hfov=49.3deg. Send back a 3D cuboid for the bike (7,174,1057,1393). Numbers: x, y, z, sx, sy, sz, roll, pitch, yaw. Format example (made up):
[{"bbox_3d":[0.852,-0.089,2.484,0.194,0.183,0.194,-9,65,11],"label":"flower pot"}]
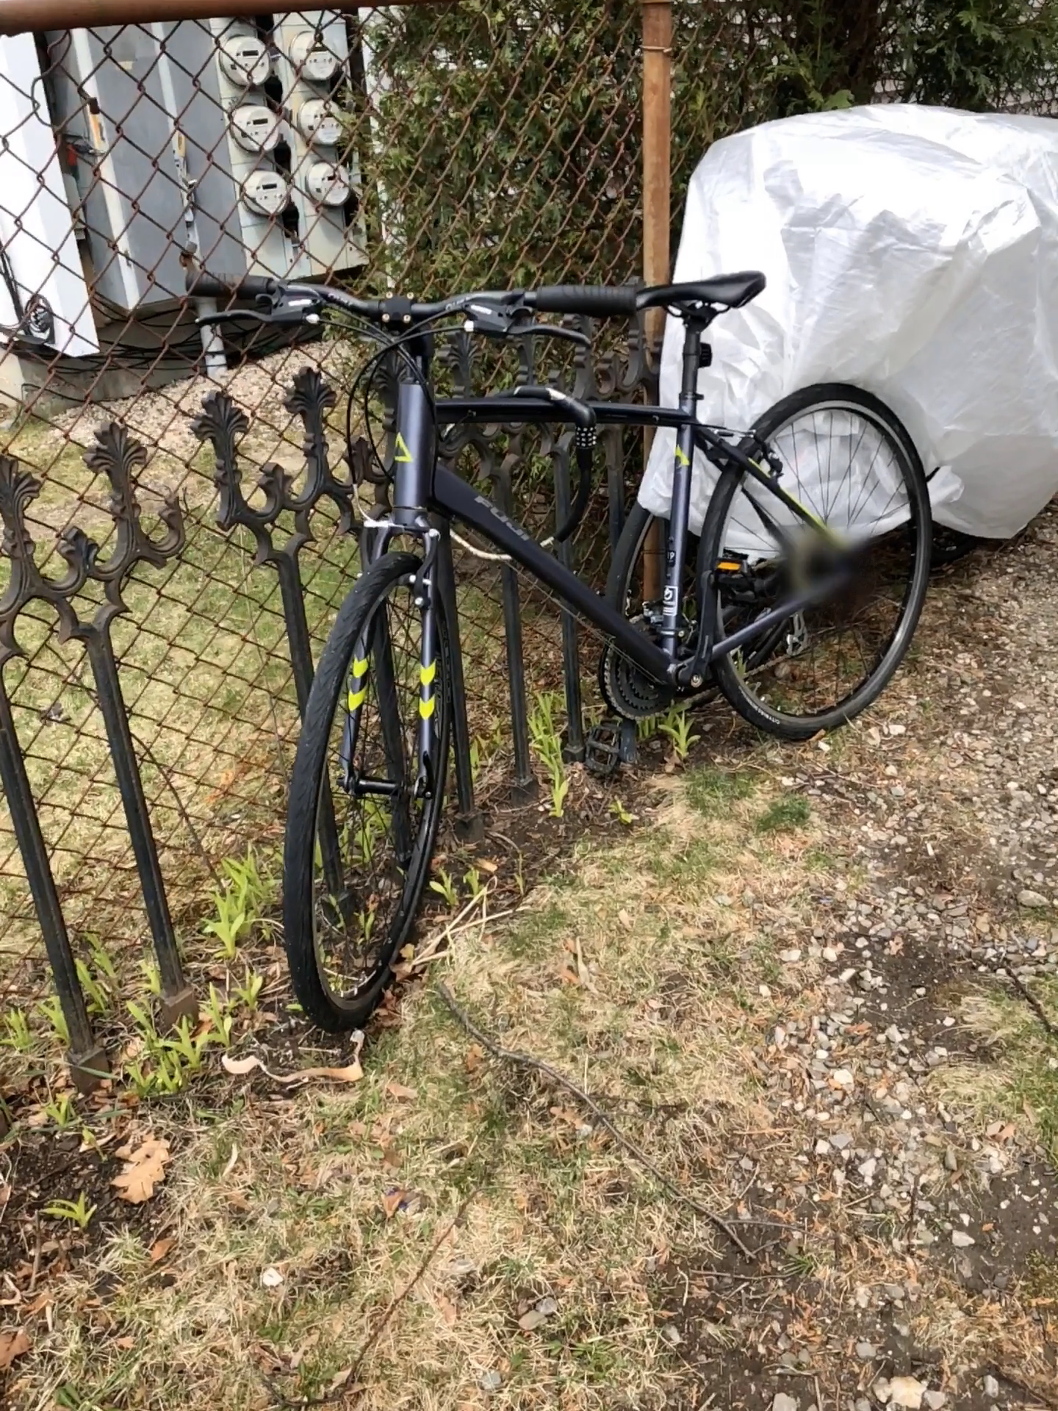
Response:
[{"bbox_3d":[0.310,-0.219,2.187,0.678,1.347,2.205,19,33,31],"label":"bike"}]
